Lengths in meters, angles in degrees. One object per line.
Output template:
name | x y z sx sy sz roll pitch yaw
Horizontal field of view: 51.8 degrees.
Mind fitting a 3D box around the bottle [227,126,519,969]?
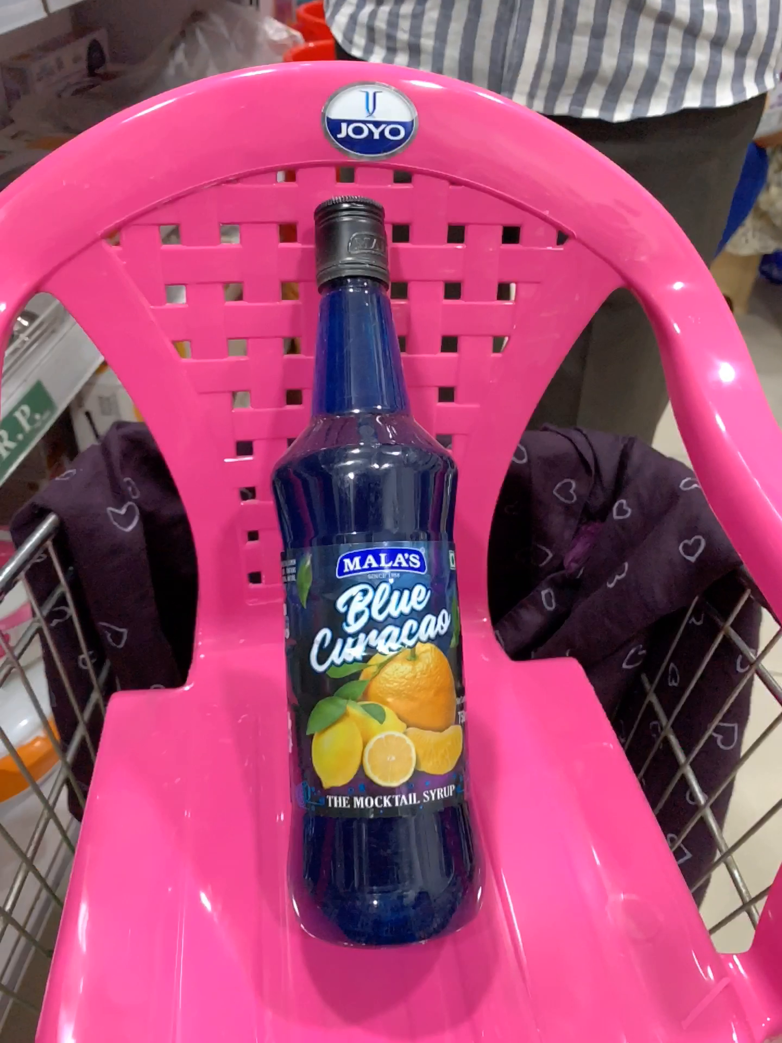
bottle | -0.012 0.005 0.304 0.080 0.270 0.080 -4 -2 0
